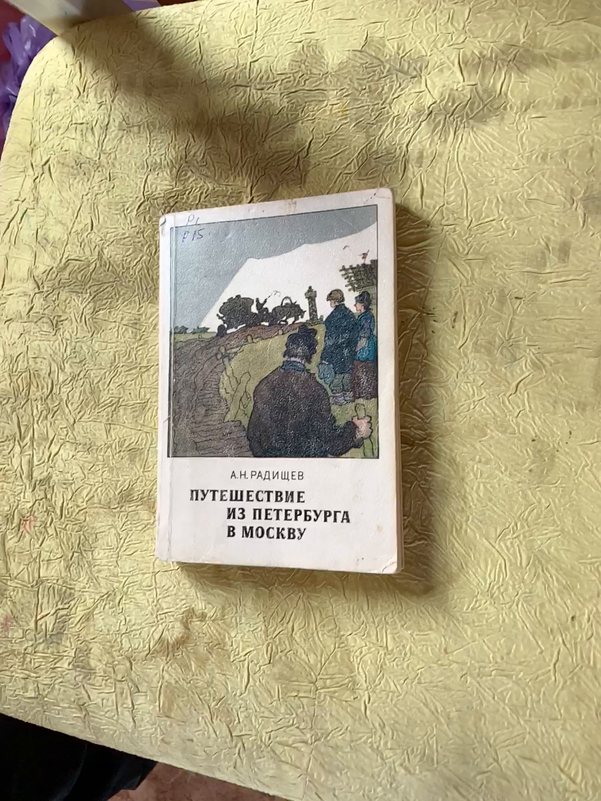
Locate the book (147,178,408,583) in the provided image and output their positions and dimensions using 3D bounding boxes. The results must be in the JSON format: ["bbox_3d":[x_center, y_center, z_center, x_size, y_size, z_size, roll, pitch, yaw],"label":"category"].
[{"bbox_3d":[-0.011,-0.008,0.272,0.111,0.020,0.161,-1,86,17],"label":"book"}]
